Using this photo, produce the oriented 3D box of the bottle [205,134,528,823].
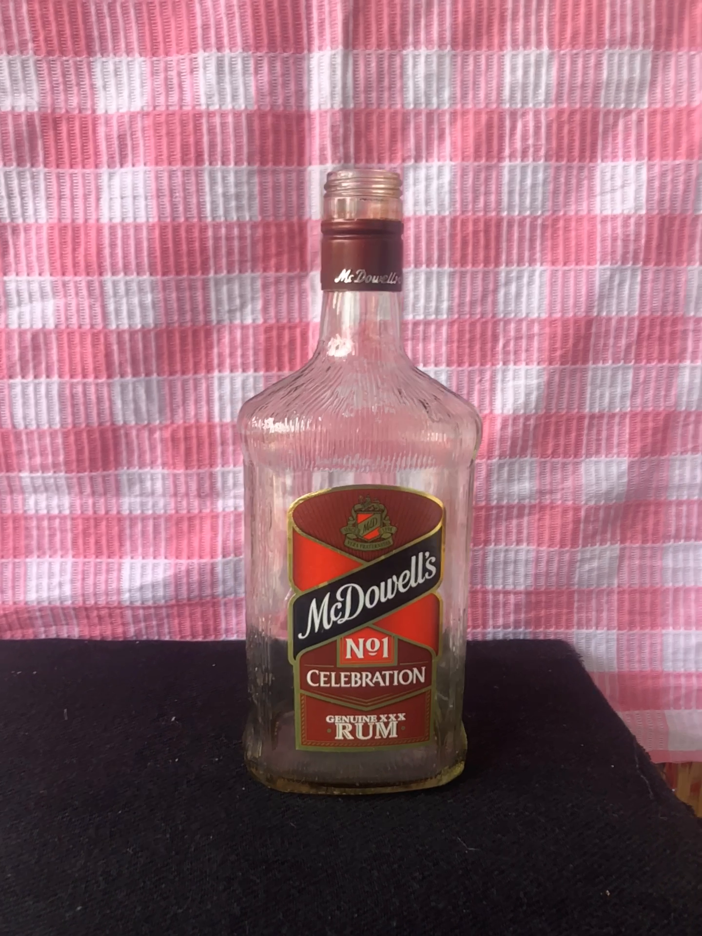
[{"bbox_3d":[-0.002,0.009,0.296,0.100,0.239,0.060,0,14,-7],"label":"bottle"}]
